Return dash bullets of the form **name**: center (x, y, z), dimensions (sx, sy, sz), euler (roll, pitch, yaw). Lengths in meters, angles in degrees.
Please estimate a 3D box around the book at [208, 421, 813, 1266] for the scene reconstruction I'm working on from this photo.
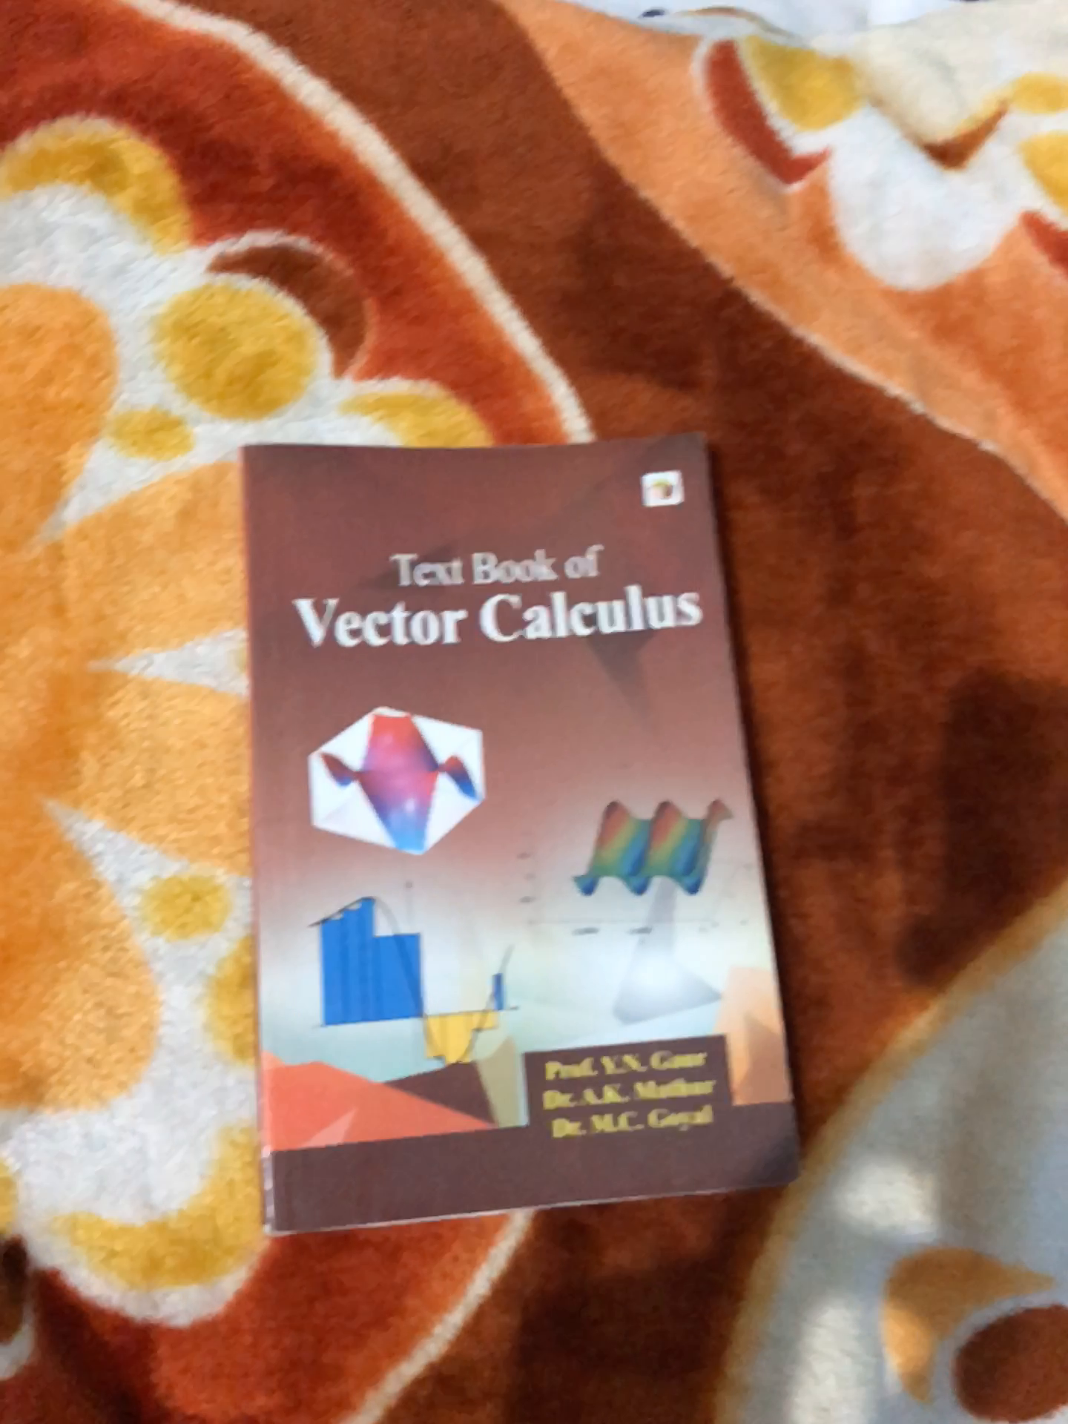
- **book**: center (-0.011, 0.025, 0.321), dimensions (0.140, 0.020, 0.210), euler (-3, 76, -8)
